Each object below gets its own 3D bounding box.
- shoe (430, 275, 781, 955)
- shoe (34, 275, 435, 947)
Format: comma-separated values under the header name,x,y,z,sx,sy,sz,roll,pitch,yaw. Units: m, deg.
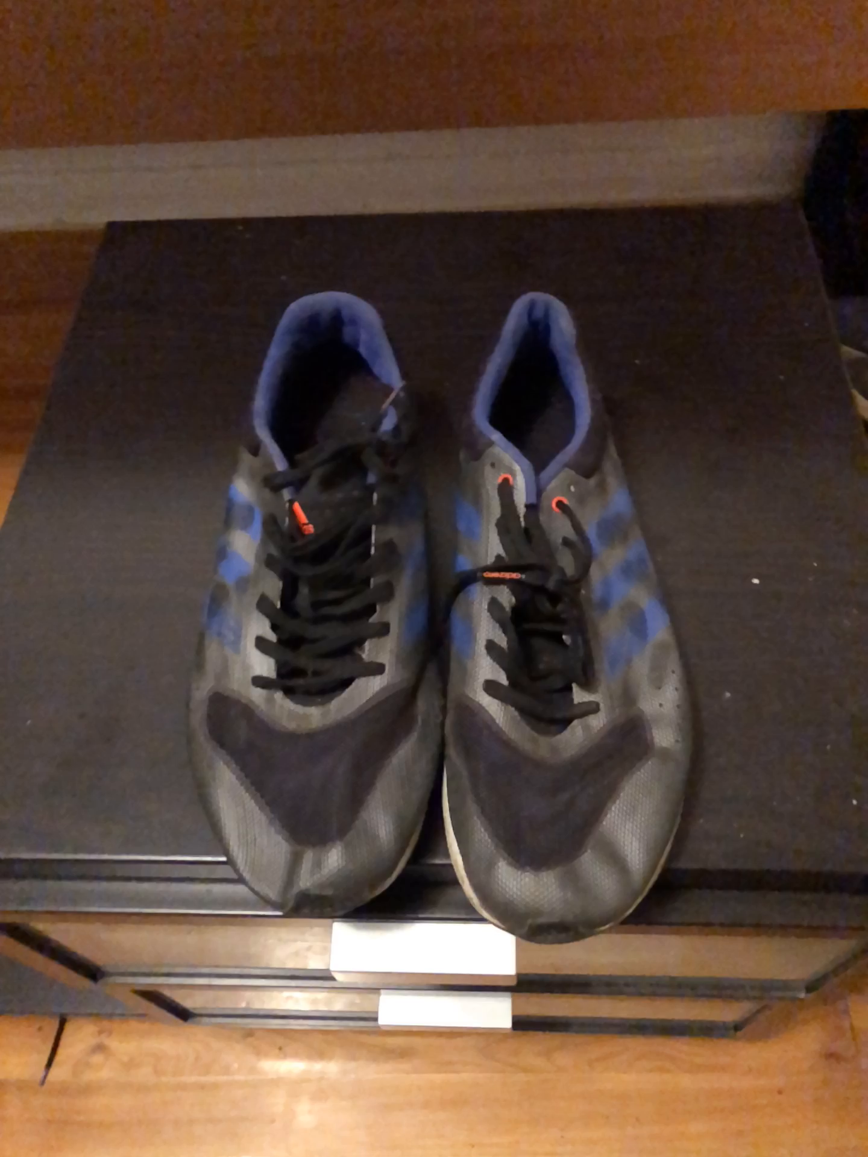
name,x,y,z,sx,sy,sz,roll,pitch,yaw
shoe,0.059,-0.004,0.415,0.110,0.070,0.302,0,56,3
shoe,-0.059,-0.002,0.390,0.110,0.079,0.272,0,56,3
